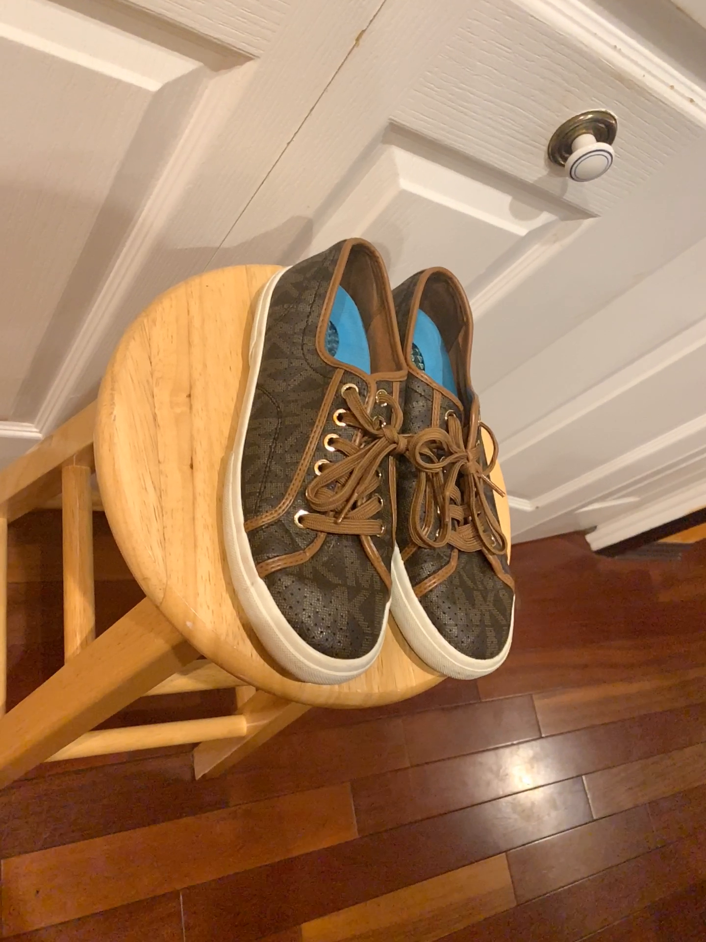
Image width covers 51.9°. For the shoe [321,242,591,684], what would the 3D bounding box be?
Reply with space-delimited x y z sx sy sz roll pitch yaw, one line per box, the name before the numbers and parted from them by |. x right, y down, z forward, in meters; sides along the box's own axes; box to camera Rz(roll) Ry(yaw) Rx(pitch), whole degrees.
shoe | 0.057 -0.006 0.467 0.100 0.080 0.260 9 62 -33

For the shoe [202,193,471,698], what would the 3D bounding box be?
shoe | -0.013 -0.015 0.416 0.100 0.090 0.260 15 58 -30
